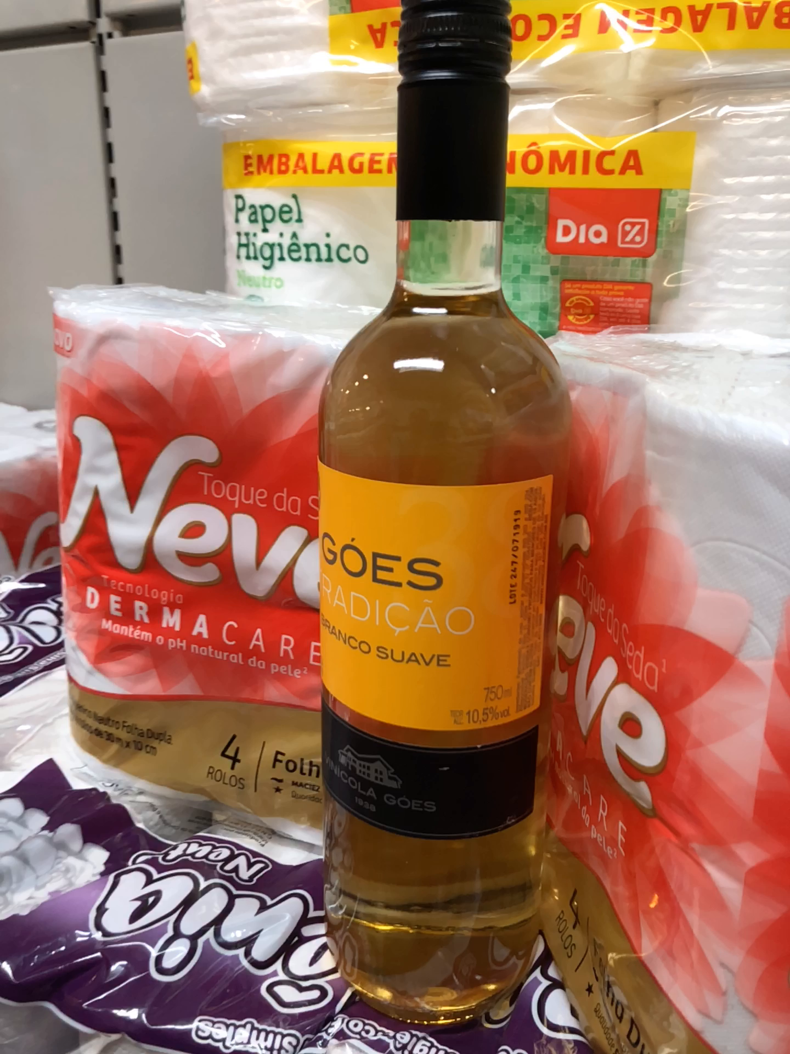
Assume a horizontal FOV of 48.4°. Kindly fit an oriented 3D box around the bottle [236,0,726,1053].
[{"bbox_3d":[0.024,0.006,0.272,0.090,0.318,0.090,-1,16,0],"label":"bottle"}]
